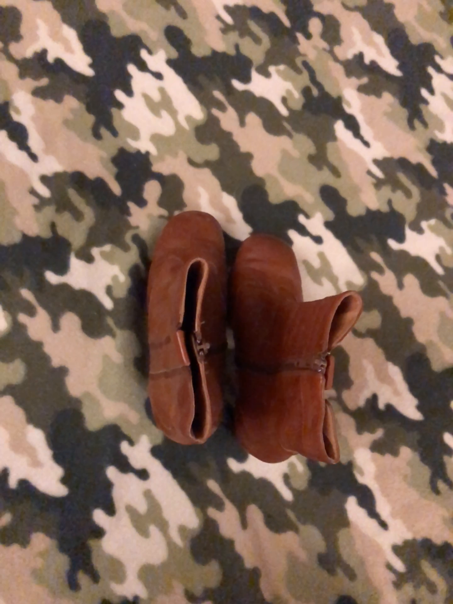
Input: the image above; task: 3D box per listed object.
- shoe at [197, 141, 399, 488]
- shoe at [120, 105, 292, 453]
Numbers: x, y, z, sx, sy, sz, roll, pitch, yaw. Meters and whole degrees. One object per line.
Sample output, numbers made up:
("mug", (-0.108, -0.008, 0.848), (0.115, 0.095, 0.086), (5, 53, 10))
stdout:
("shoe", (0.049, 0.022, 0.418), (0.090, 0.190, 0.220), (10, 75, -9))
("shoe", (-0.025, 0.000, 0.409), (0.090, 0.190, 0.220), (8, 75, -9))
